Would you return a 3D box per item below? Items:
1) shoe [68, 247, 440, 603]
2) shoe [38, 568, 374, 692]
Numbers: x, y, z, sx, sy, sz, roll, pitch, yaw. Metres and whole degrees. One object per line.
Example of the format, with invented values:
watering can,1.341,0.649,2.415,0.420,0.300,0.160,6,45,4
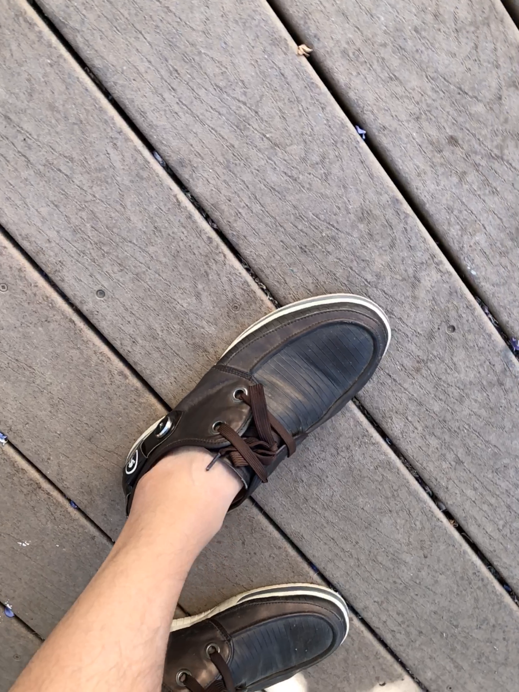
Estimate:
shoe,-0.010,0.063,0.466,0.283,0.096,0.104,-43,103,11
shoe,-0.044,0.306,0.538,0.276,0.090,0.104,-11,107,2
